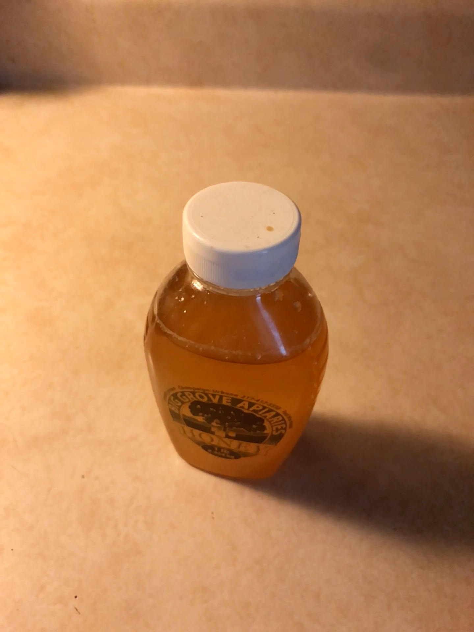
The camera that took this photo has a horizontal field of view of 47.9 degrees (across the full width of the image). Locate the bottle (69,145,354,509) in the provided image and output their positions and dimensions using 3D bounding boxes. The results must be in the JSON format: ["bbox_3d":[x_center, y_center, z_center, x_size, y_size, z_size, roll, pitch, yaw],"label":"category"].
[{"bbox_3d":[-0.006,0.013,0.222,0.080,0.140,0.060,9,46,7],"label":"bottle"}]
